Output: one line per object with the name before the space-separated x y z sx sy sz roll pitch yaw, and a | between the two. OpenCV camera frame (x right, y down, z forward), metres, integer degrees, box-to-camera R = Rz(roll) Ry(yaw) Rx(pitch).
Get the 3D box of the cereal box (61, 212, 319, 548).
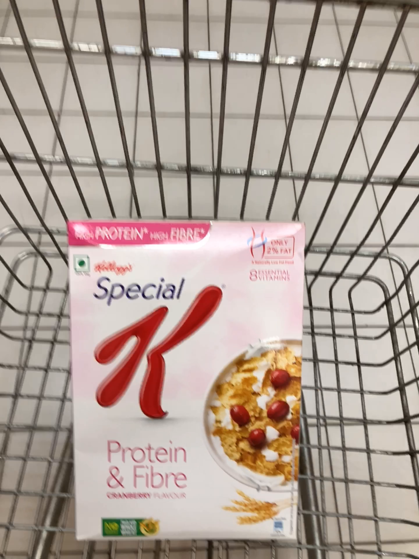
cereal box | -0.018 0.080 0.413 0.190 0.100 0.270 1 99 -2
